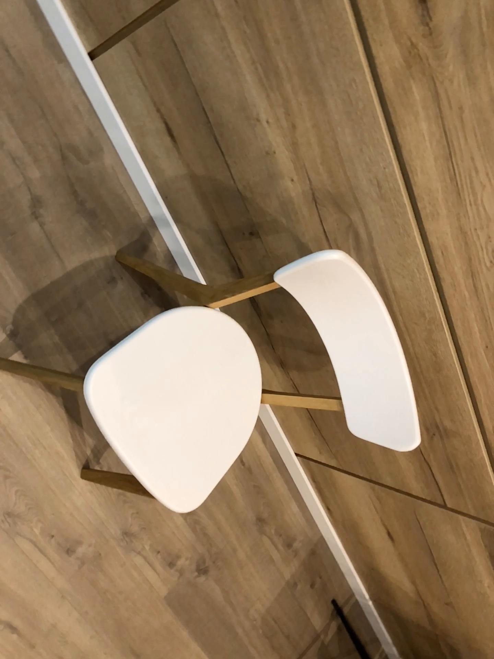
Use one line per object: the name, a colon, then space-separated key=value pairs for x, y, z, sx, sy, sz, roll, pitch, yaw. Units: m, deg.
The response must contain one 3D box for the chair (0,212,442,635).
chair: x=-0.124 y=0.125 z=1.235 sx=0.532 sy=0.826 sz=0.501 roll=-46 pitch=121 yaw=-28
